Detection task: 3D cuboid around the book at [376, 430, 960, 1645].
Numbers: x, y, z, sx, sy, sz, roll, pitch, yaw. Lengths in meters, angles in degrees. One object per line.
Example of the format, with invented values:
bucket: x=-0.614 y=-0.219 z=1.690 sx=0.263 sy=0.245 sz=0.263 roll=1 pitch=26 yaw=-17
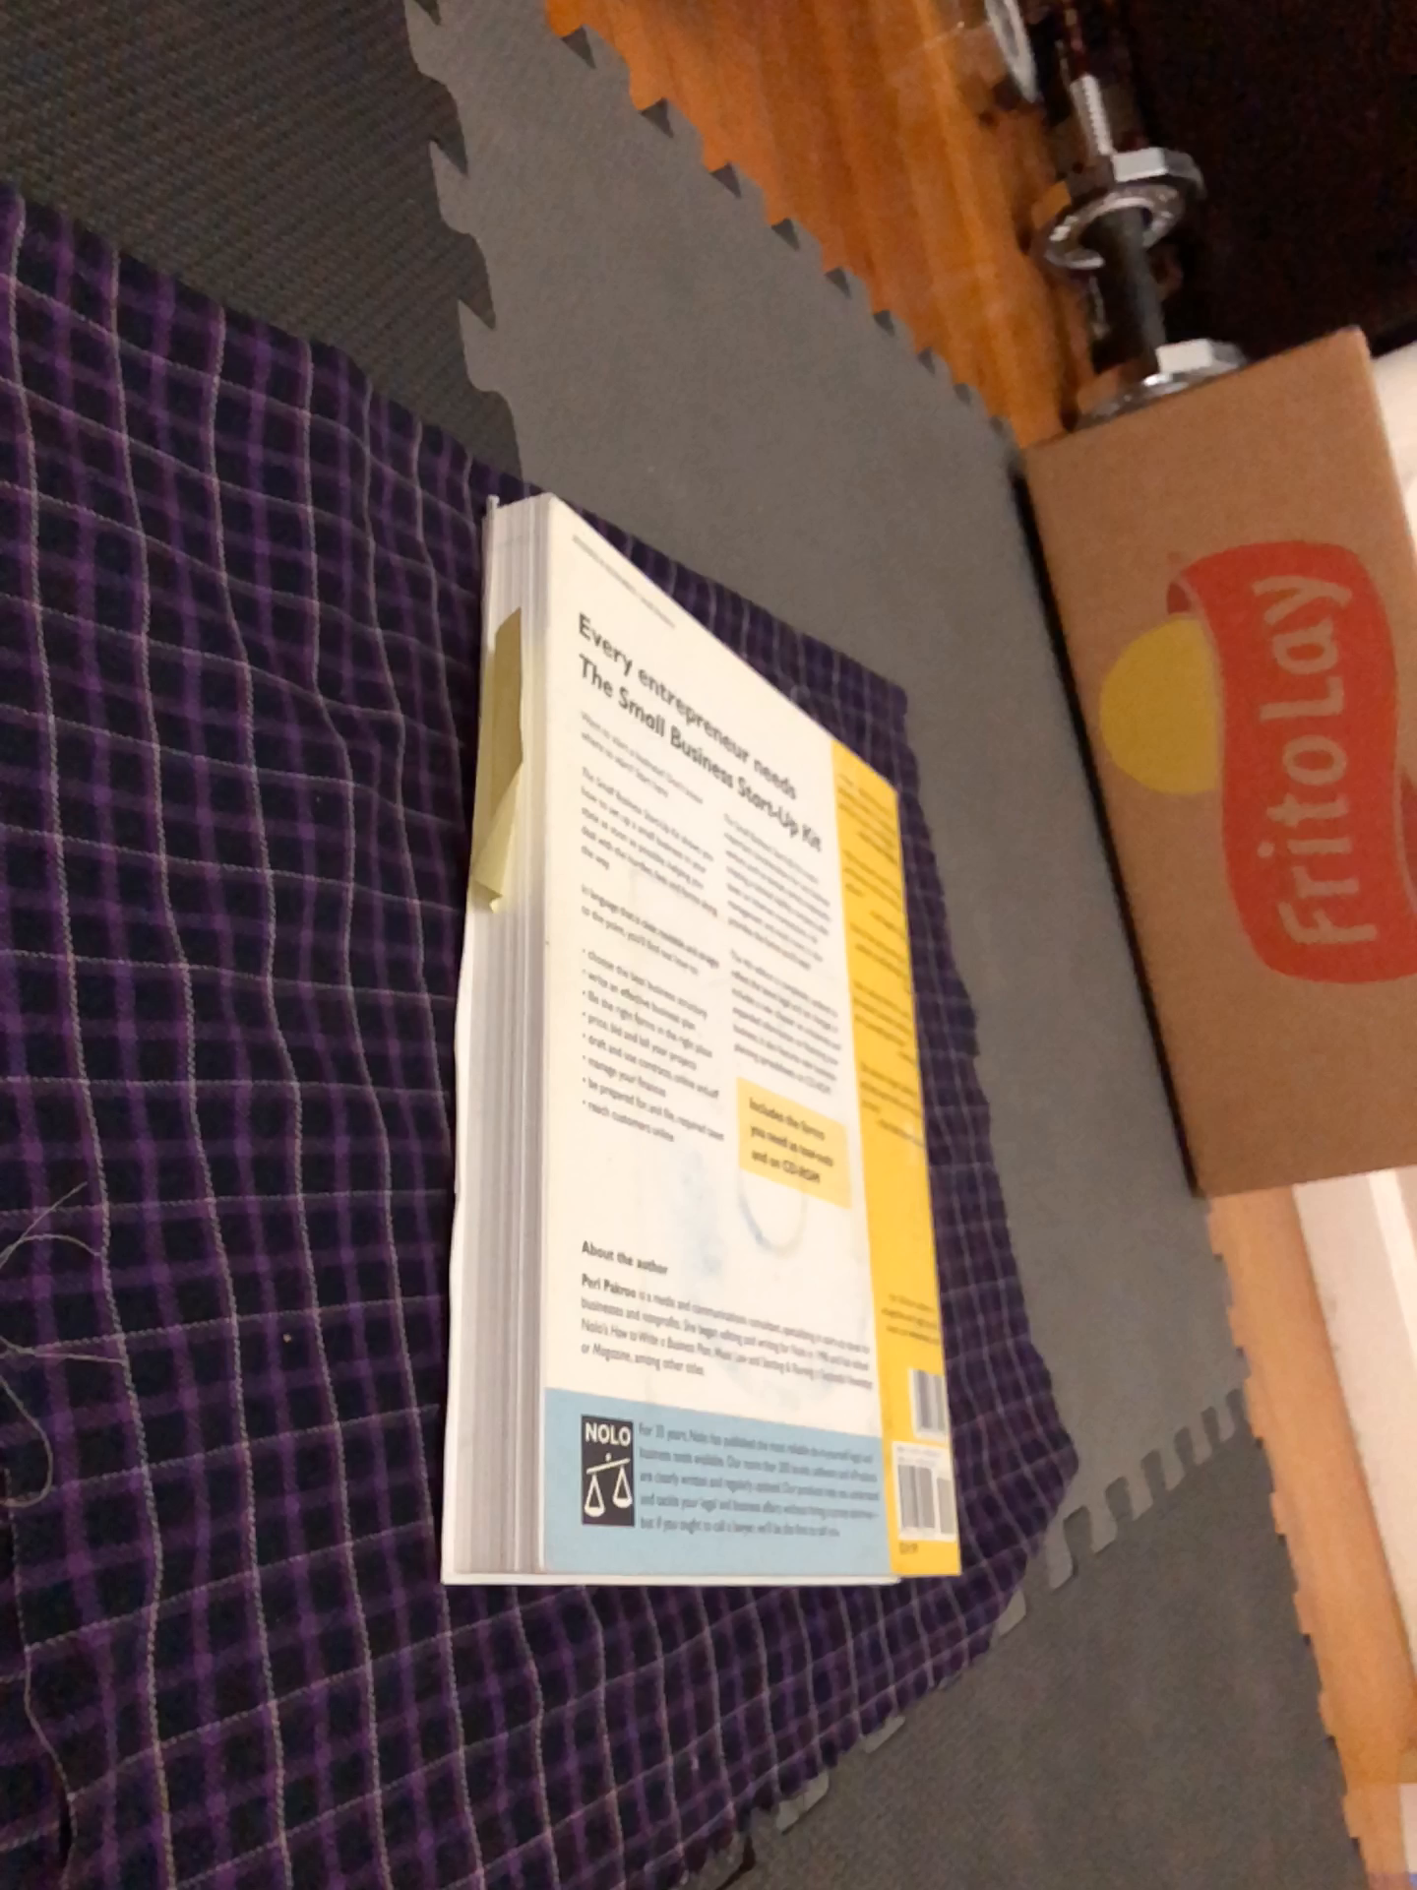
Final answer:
book: x=-0.001 y=0.038 z=0.476 sx=0.231 sy=0.030 sz=0.311 roll=31 pitch=50 yaw=-51
